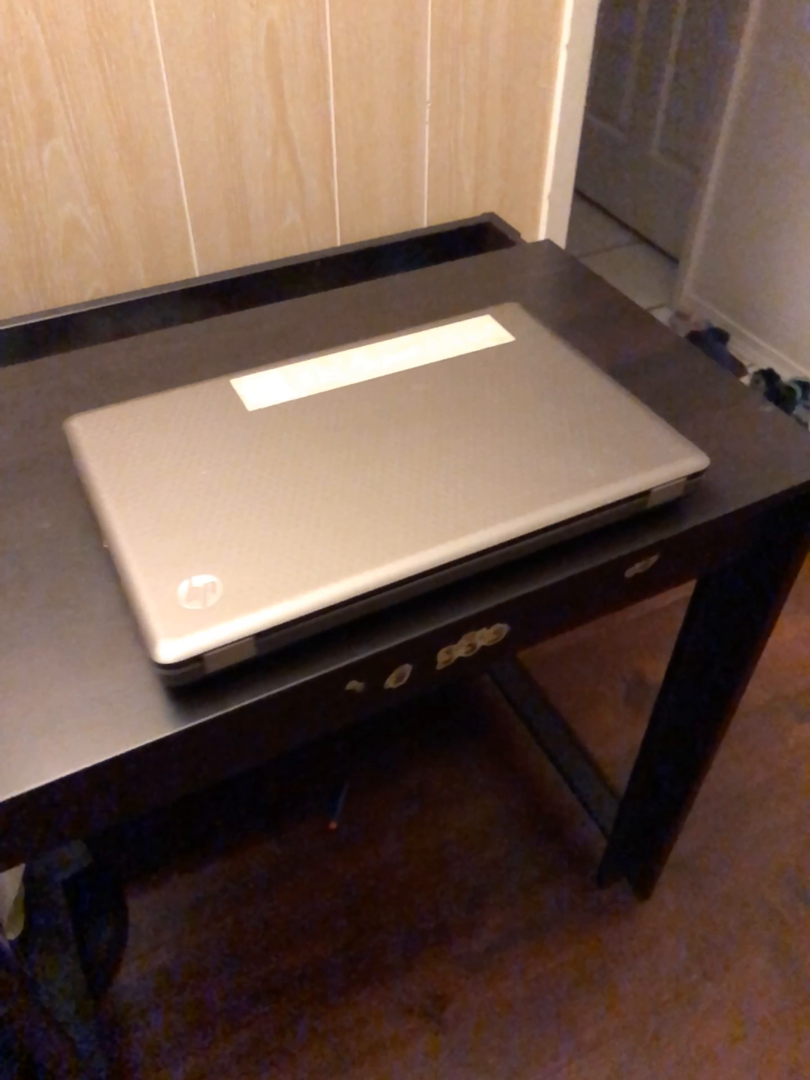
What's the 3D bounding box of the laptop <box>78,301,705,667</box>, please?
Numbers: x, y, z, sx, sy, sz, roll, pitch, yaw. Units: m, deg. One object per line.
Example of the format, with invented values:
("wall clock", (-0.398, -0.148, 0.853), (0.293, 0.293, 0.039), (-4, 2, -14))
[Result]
("laptop", (-0.016, -0.065, 0.600), (0.357, 0.001, 0.238), (-19, 48, -19))
